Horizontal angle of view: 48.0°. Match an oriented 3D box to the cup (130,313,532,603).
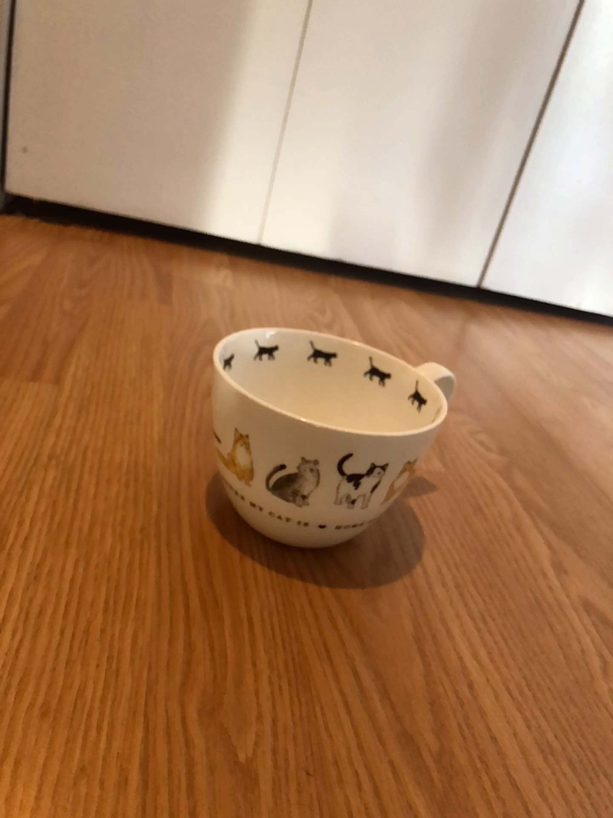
[{"bbox_3d":[0.013,0.010,0.365,0.160,0.080,0.120,-8,33,-41],"label":"cup"}]
